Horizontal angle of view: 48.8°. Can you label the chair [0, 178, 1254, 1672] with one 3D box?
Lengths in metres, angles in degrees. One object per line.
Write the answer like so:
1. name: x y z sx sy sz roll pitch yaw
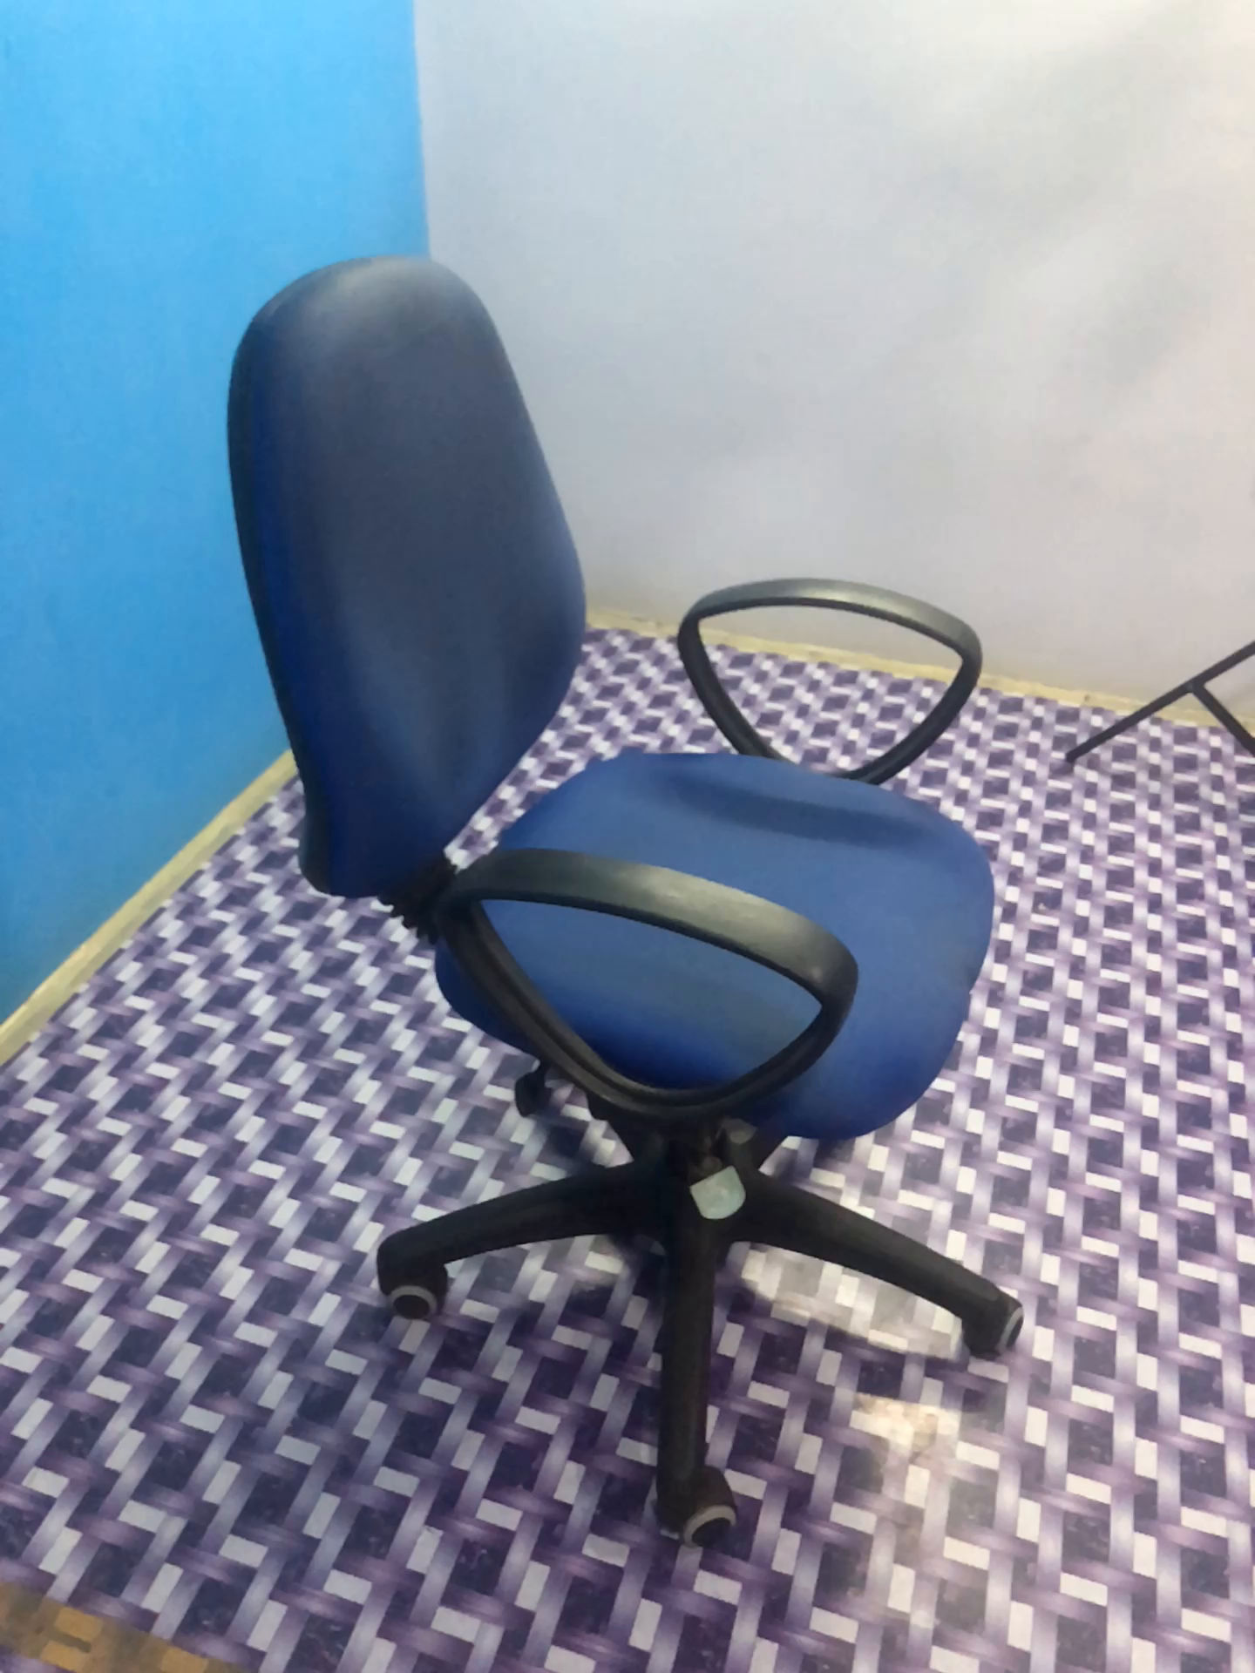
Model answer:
1. chair: 0.089 0.016 1.172 0.690 0.915 0.704 14 35 18
